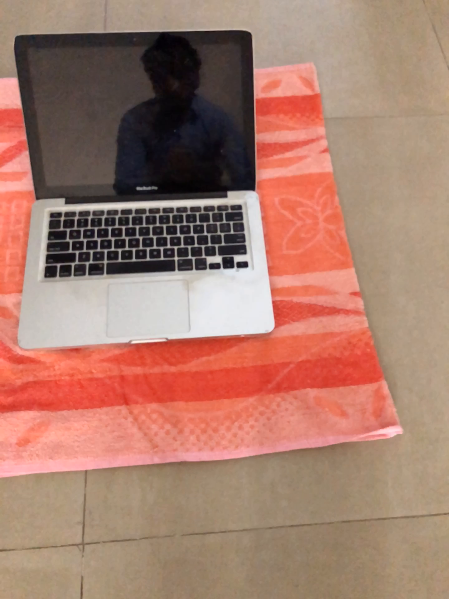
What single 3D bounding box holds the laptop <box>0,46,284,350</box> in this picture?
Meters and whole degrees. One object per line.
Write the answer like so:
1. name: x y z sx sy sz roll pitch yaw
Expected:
1. laptop: -0.108 -0.142 0.644 0.309 0.133 0.373 -3 63 -4
